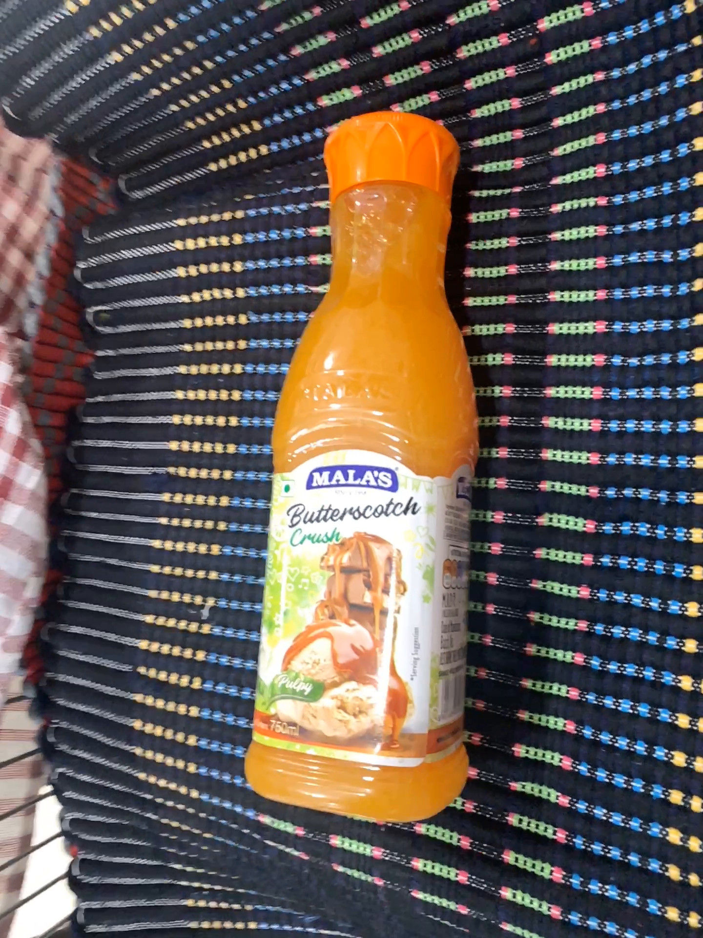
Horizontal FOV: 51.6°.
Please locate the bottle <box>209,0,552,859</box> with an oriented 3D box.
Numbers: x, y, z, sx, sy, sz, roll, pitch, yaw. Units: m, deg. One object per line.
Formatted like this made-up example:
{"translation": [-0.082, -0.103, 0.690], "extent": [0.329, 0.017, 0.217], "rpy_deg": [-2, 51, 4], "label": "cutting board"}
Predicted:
{"translation": [0.019, -0.023, 0.238], "extent": [0.070, 0.060, 0.250], "rpy_deg": [1, 76, 24], "label": "bottle"}
